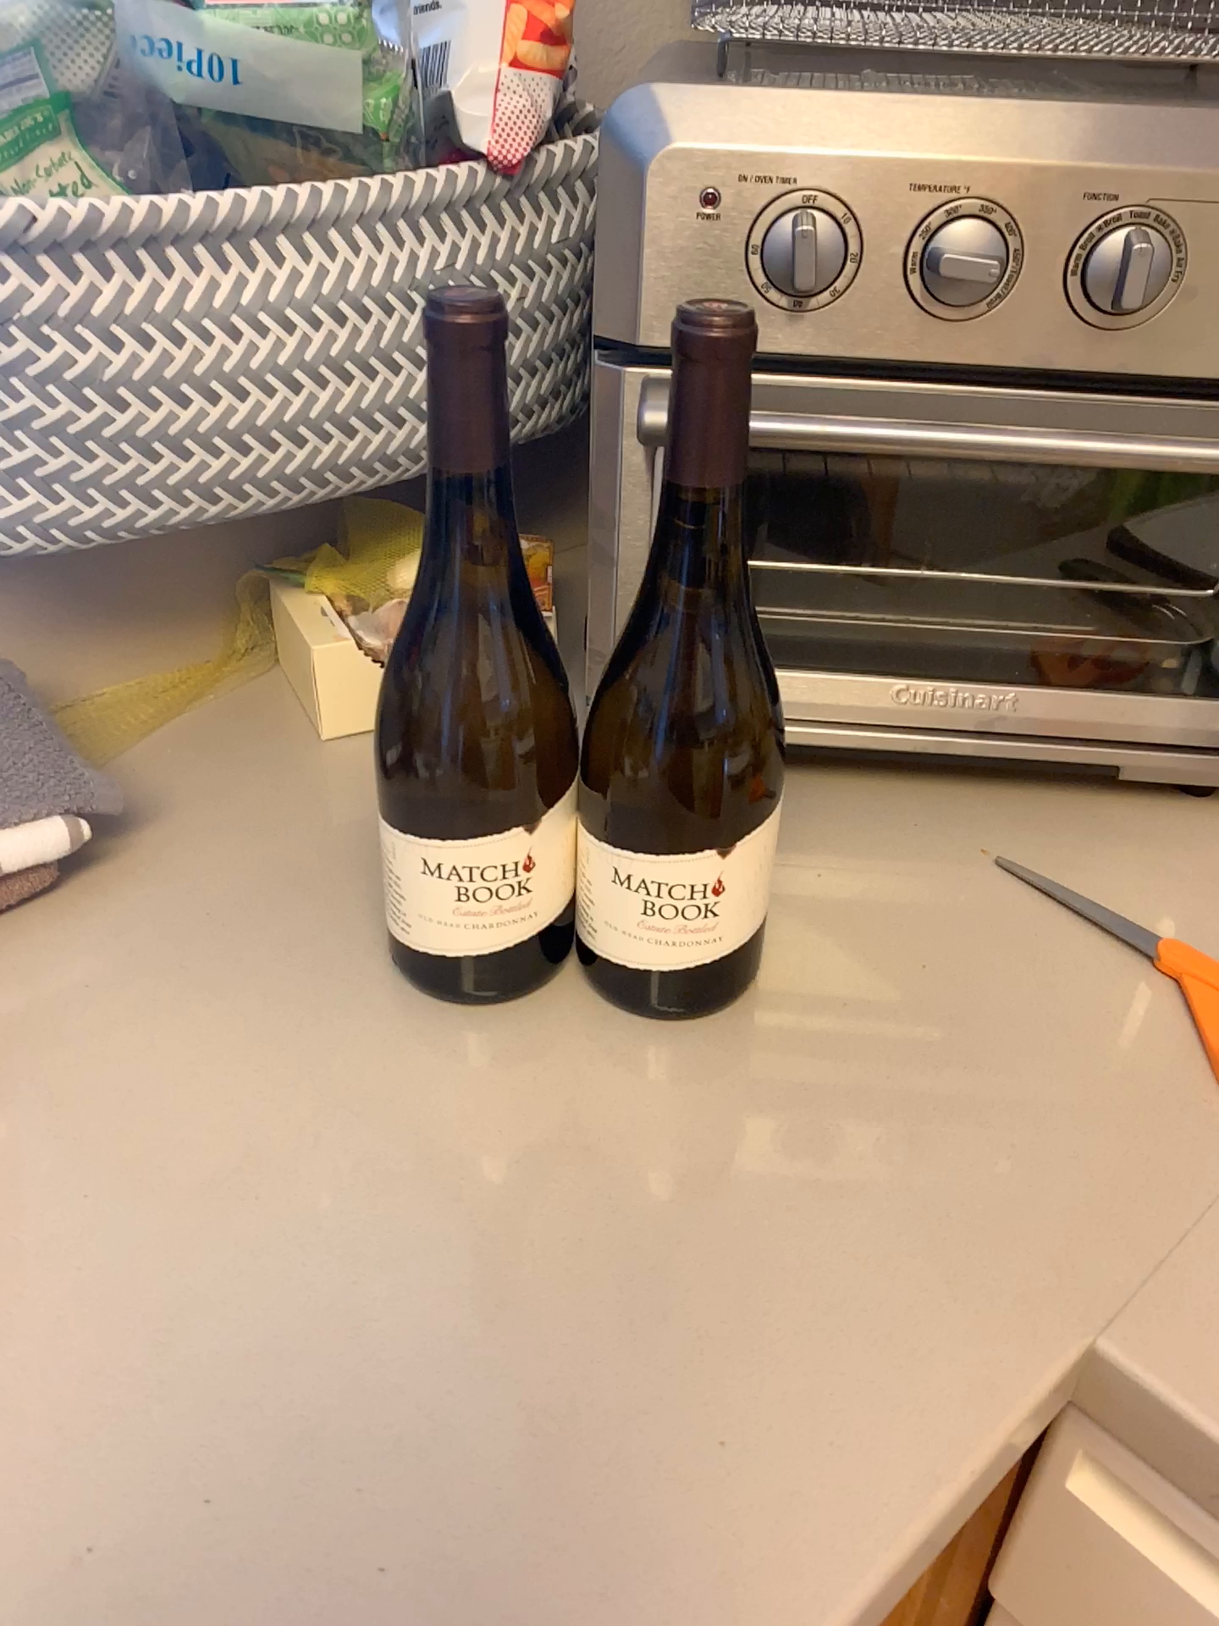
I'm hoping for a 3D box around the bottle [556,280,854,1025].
[{"bbox_3d":[0.027,-0.052,0.495,0.090,0.278,0.091,1,34,-1],"label":"bottle"}]

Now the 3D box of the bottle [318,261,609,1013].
[{"bbox_3d":[-0.054,-0.060,0.507,0.090,0.288,0.091,1,34,-1],"label":"bottle"}]
